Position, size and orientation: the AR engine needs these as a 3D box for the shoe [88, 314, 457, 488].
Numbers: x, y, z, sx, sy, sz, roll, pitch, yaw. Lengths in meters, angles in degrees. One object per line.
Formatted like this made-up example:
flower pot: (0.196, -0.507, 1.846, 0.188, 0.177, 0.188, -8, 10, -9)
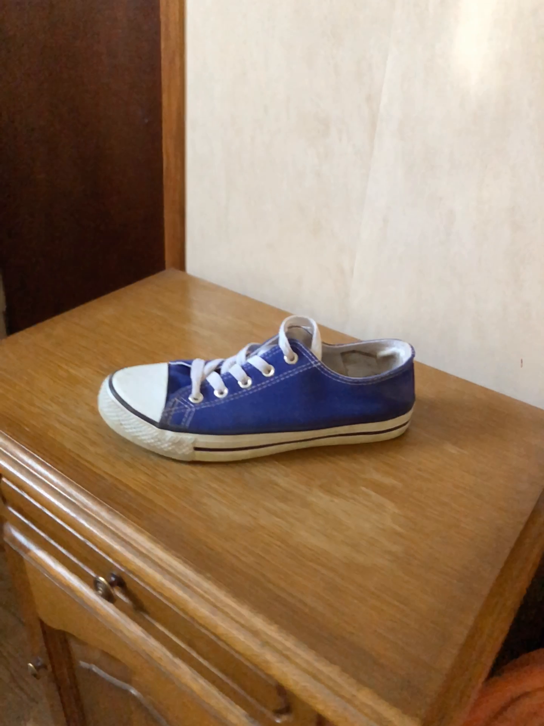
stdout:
shoe: (-0.003, 0.025, 0.477, 0.260, 0.089, 0.090, -2, 32, -11)
